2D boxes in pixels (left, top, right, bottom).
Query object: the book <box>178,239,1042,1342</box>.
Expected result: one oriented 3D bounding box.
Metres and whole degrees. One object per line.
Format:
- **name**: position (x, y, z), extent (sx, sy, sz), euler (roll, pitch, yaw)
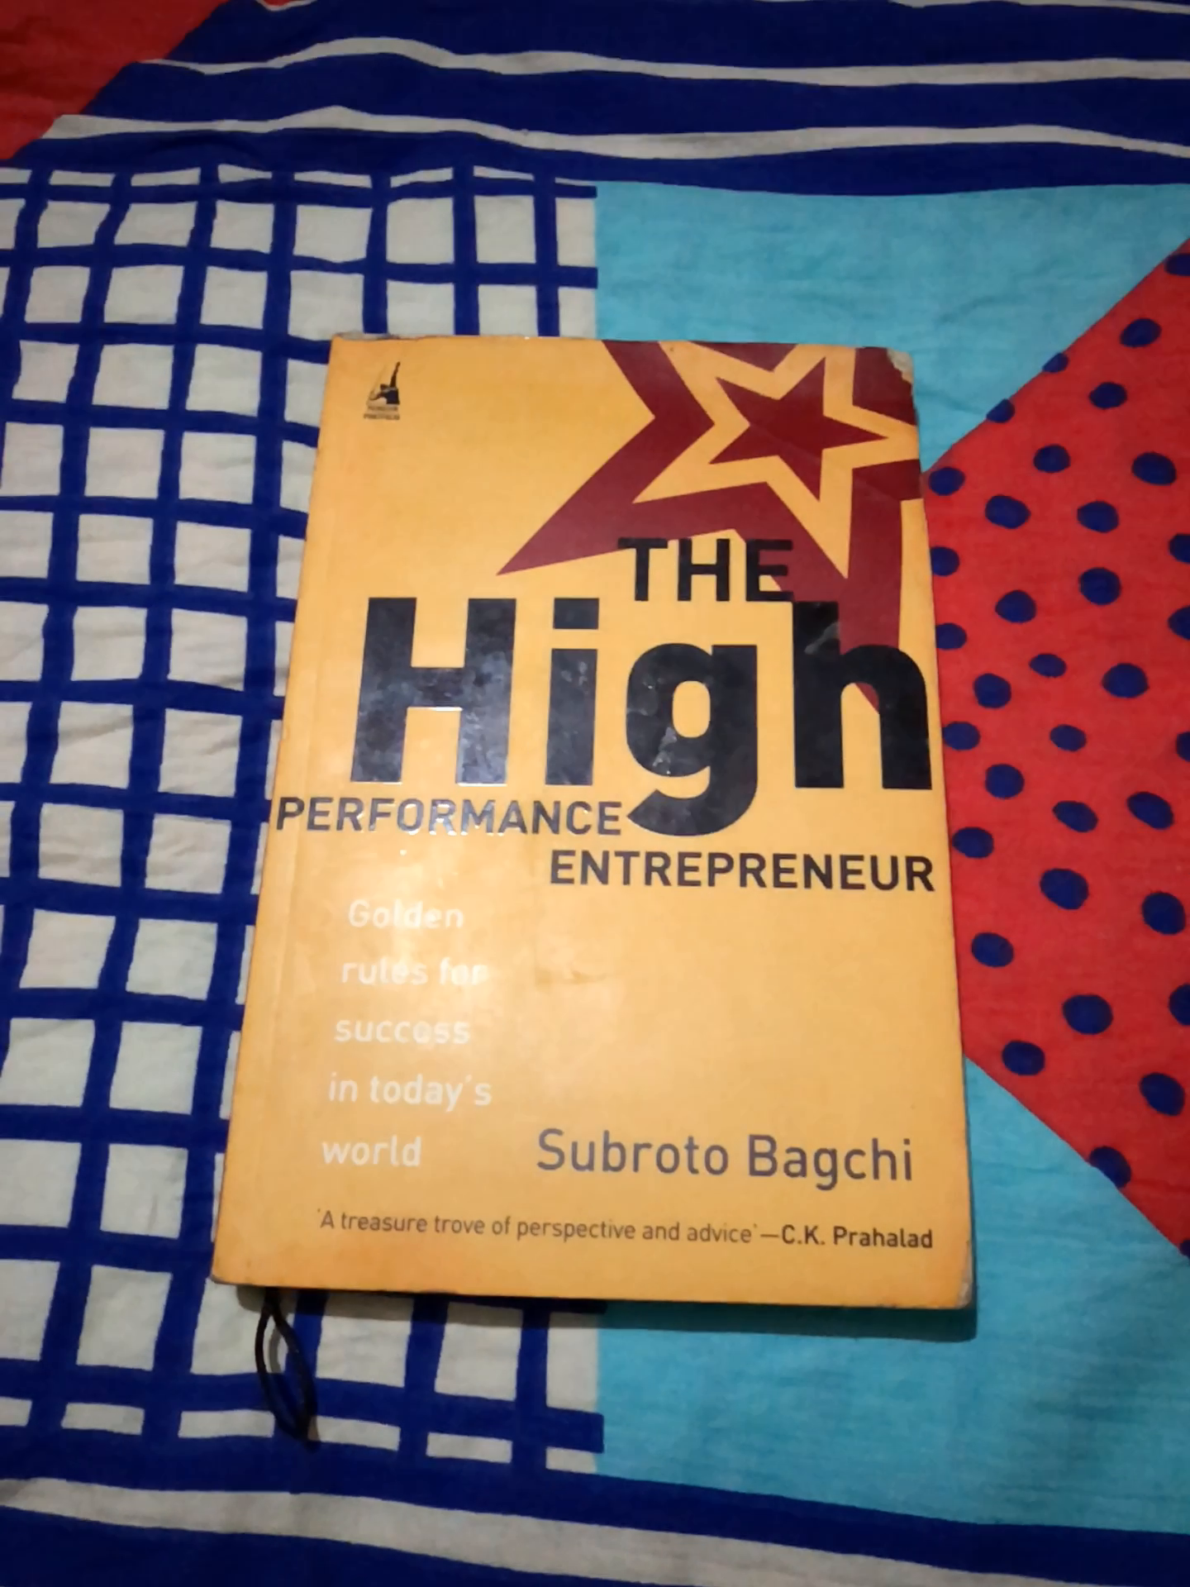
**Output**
- **book**: position (0.006, -0.012, 0.279), extent (0.140, 0.040, 0.230), euler (1, 67, 2)
